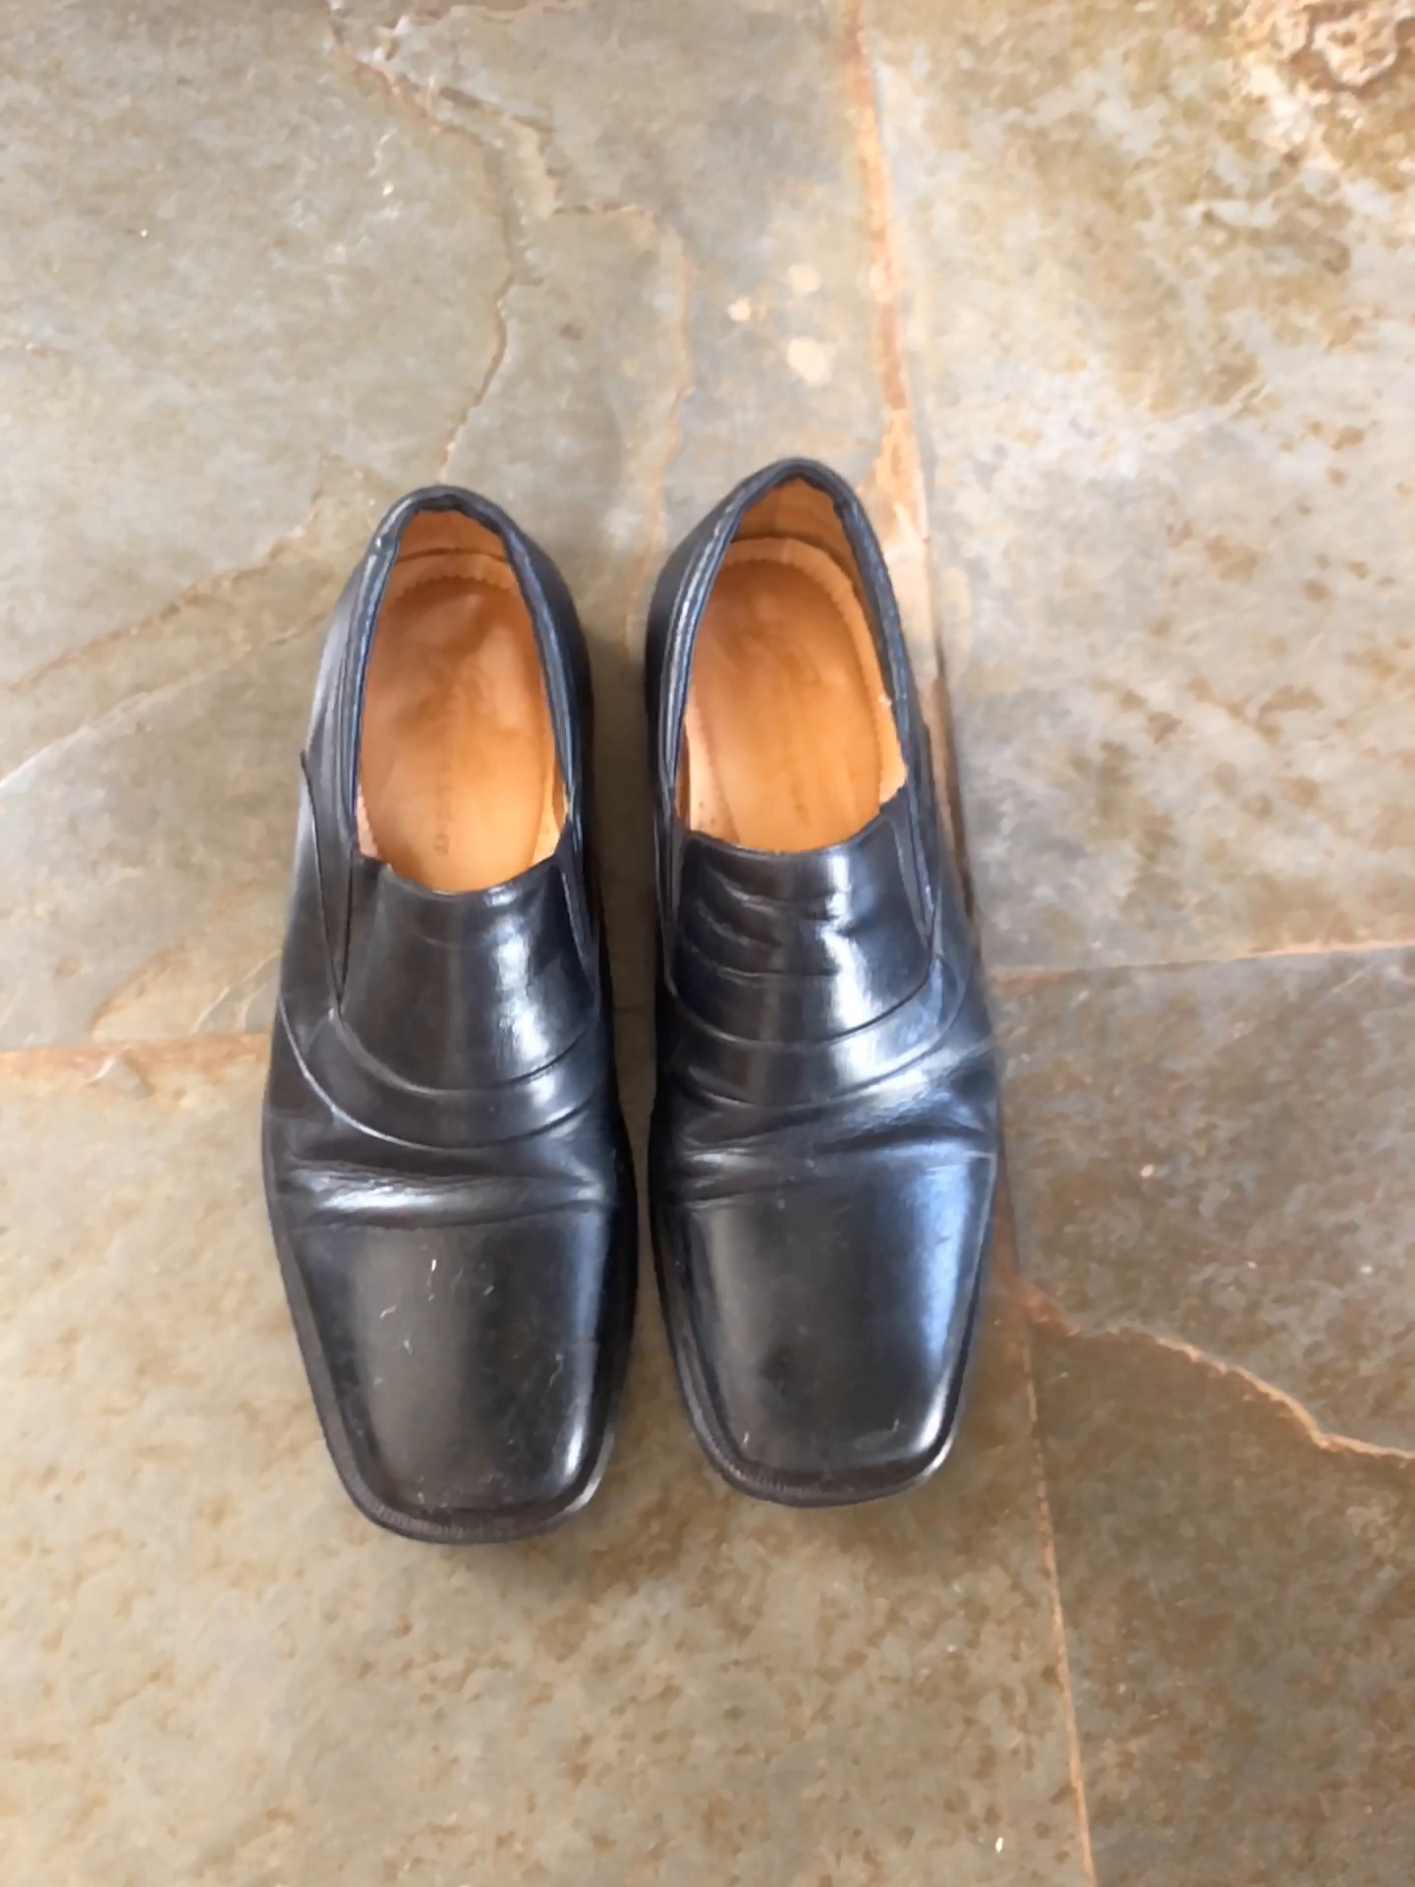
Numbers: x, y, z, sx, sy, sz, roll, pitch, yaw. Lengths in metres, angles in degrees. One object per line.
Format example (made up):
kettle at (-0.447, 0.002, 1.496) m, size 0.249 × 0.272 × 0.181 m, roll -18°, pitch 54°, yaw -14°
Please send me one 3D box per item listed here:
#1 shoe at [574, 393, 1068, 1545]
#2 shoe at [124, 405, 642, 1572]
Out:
shoe at (0.020, 0.006, 0.429) m, size 0.100 × 0.110 × 0.281 m, roll -2°, pitch 75°, yaw -3°
shoe at (-0.080, 0.010, 0.427) m, size 0.110 × 0.110 × 0.281 m, roll -3°, pitch 75°, yaw -3°
